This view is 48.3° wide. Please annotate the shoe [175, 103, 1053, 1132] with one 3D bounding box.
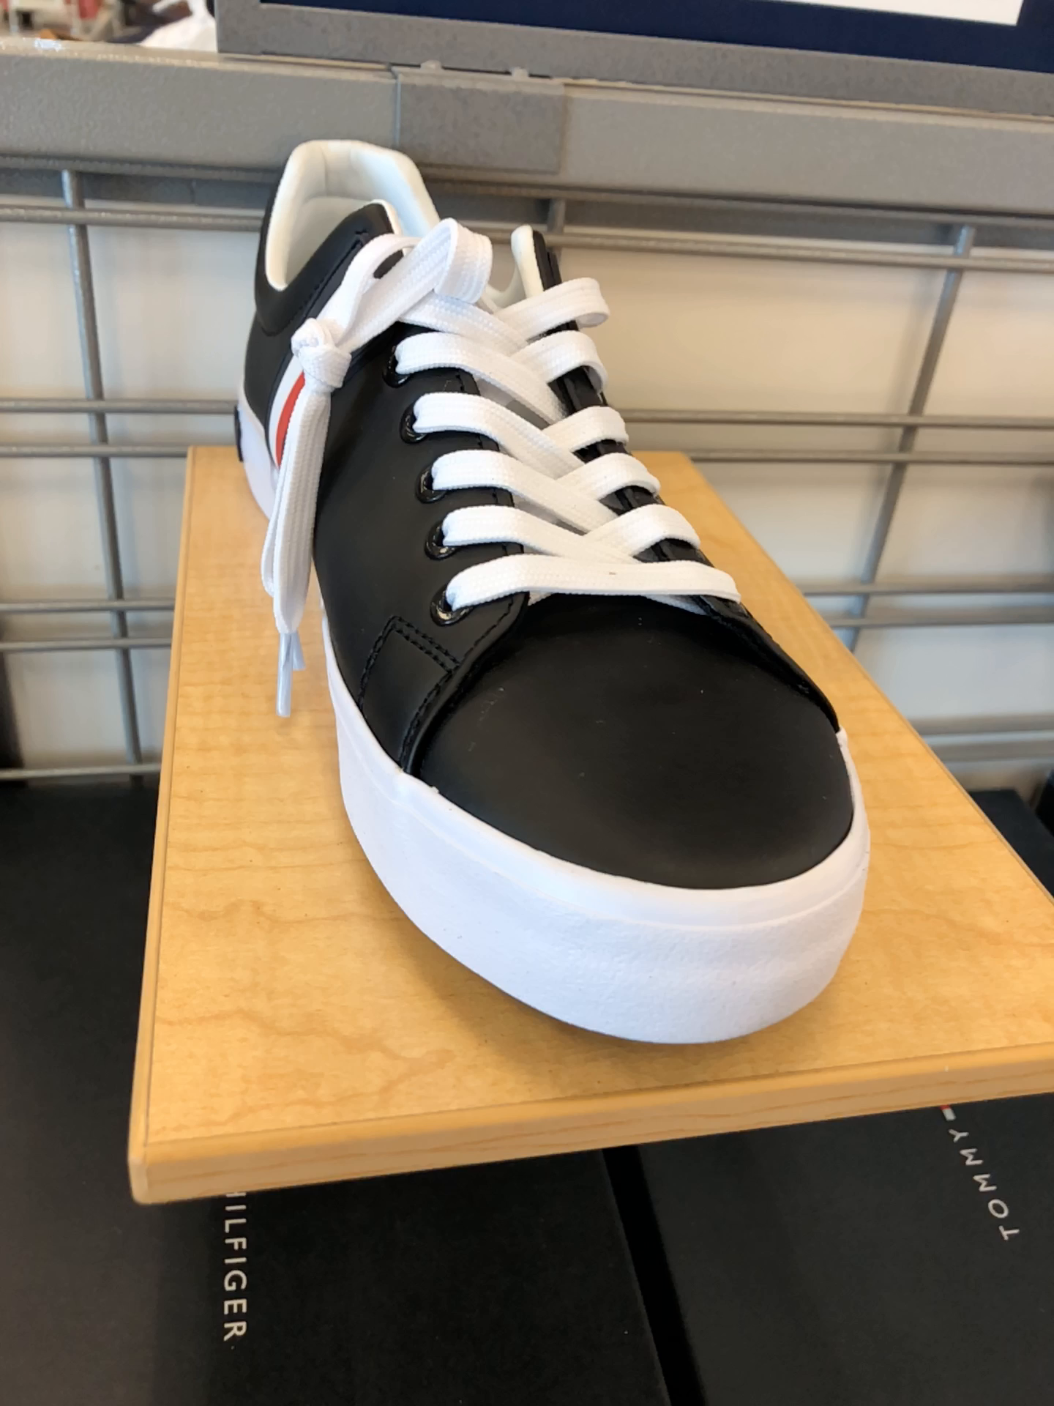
[{"bbox_3d":[-0.011,-0.062,0.269,0.100,0.089,0.292,-6,35,-20],"label":"shoe"}]
